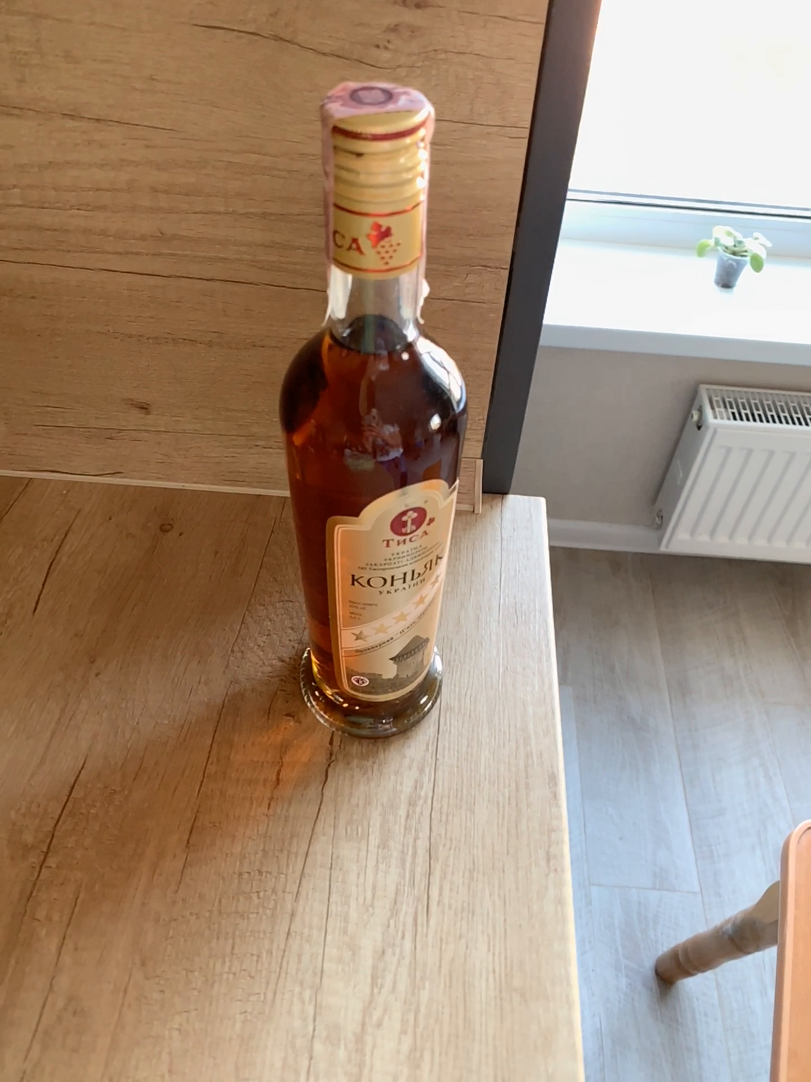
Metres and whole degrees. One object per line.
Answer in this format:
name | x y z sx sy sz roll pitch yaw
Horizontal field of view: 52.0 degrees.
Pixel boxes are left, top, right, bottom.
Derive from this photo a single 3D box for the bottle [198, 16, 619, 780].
bottle | -0.007 -0.019 0.305 0.080 0.279 0.070 -17 52 -17
